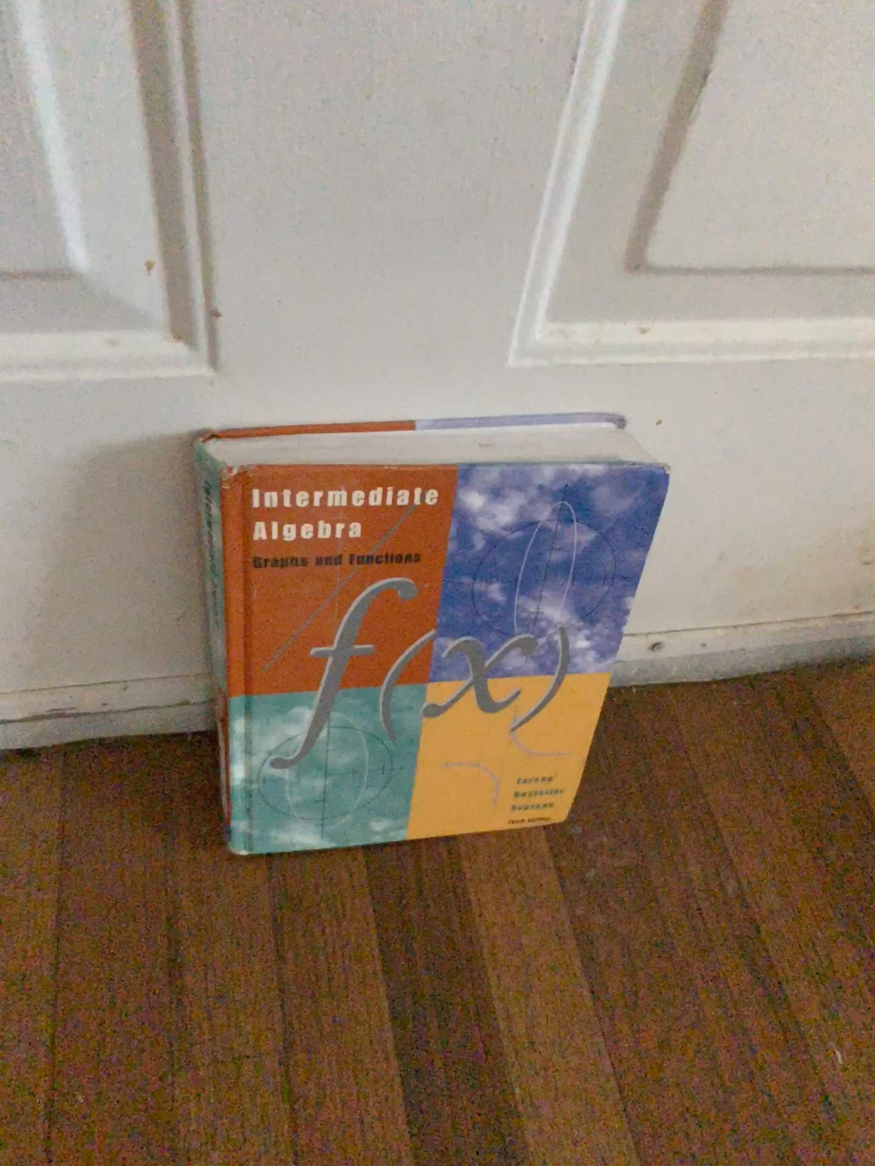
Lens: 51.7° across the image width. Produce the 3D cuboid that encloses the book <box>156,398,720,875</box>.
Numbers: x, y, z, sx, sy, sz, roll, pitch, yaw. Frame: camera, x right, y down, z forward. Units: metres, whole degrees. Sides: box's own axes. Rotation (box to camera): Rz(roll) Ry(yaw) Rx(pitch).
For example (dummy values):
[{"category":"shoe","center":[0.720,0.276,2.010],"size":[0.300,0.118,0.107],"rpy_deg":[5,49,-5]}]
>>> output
[{"category":"book","center":[-0.006,0.035,0.460],"size":[0.230,0.249,0.060],"rpy_deg":[-2,36,-9]}]
